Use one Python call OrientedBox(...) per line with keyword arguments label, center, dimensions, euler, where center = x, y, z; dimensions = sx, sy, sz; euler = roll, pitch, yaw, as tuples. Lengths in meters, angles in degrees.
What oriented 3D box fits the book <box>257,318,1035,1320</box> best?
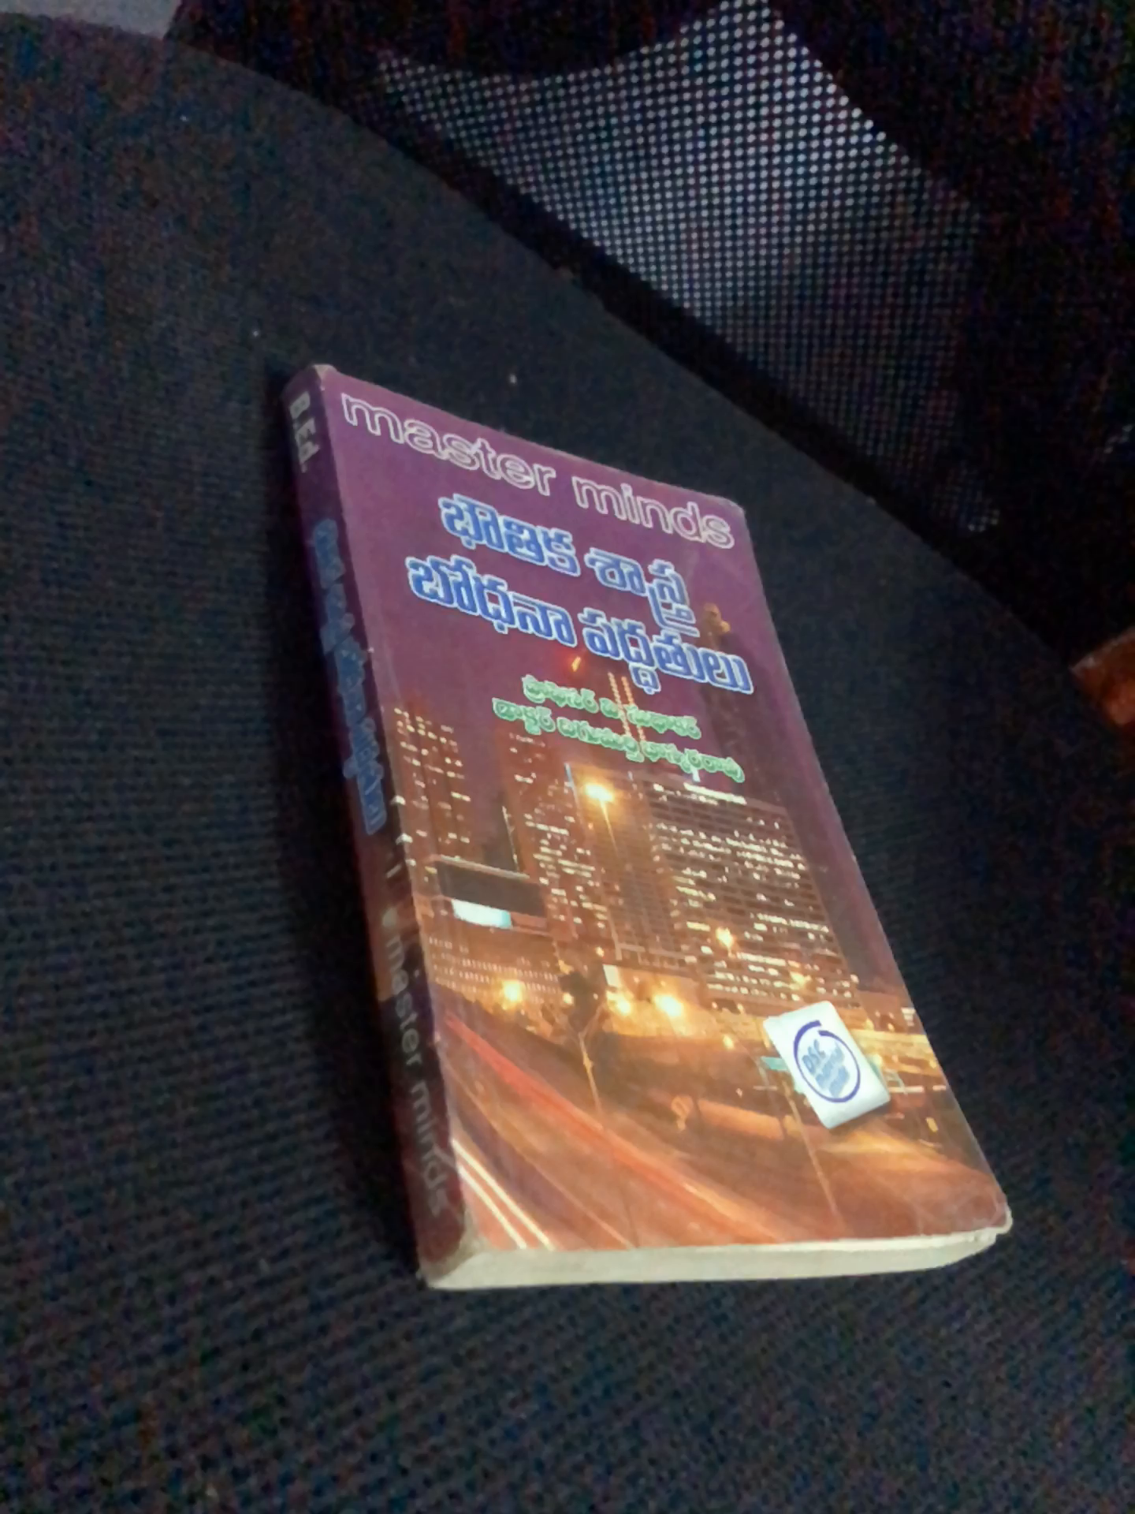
OrientedBox(label="book", center=(0.010, 0.006, 0.288), dimensions=(0.146, 0.027, 0.219), euler=(16, 44, -37))
